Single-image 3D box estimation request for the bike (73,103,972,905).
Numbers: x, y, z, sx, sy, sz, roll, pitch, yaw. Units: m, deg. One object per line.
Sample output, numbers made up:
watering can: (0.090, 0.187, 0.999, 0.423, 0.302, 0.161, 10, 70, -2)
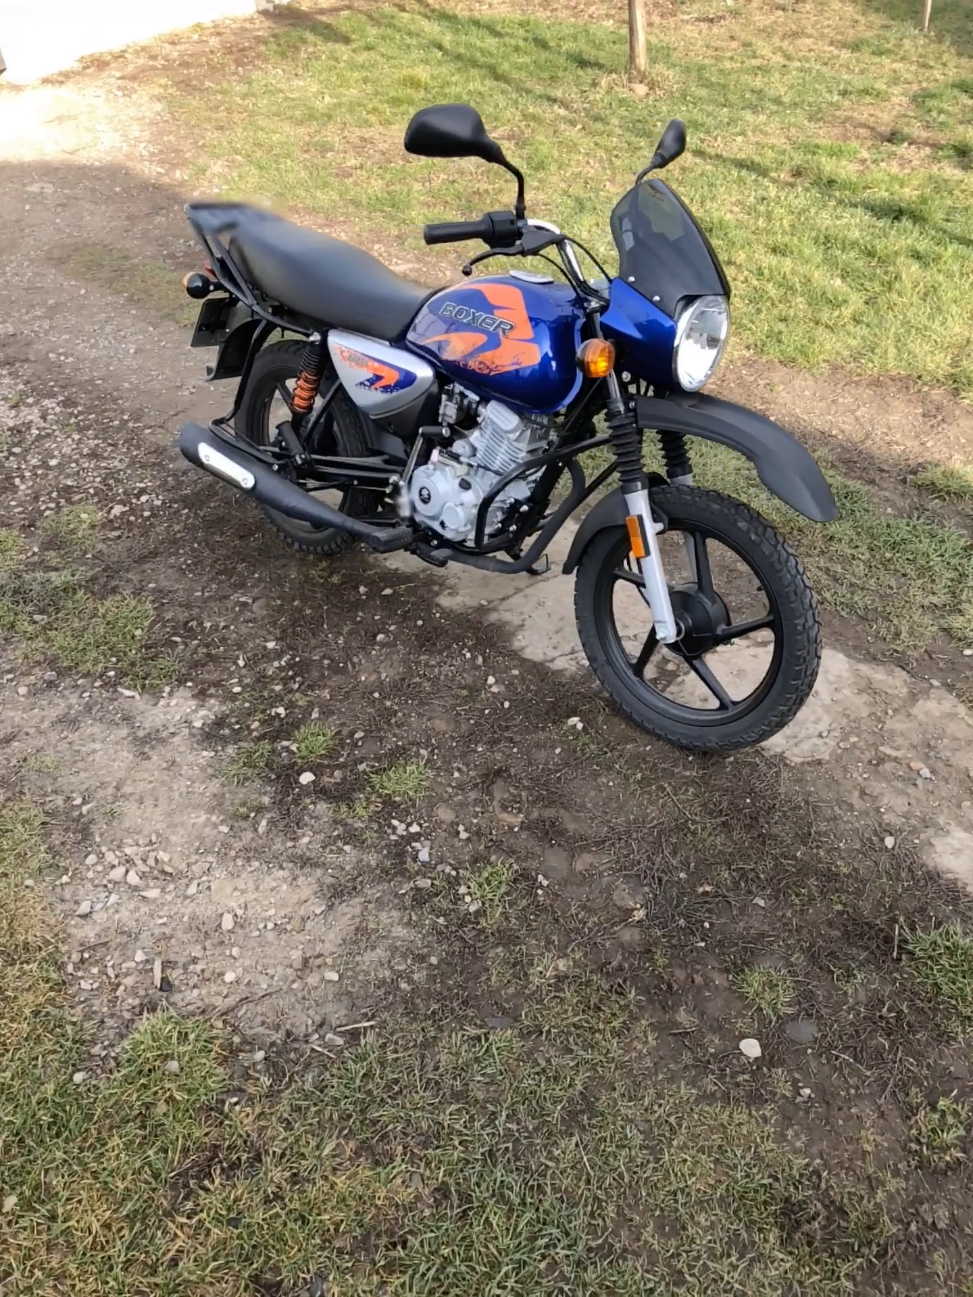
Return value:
bike: (0.004, -0.488, 2.488, 1.784, 1.049, 0.810, 30, 50, 34)
